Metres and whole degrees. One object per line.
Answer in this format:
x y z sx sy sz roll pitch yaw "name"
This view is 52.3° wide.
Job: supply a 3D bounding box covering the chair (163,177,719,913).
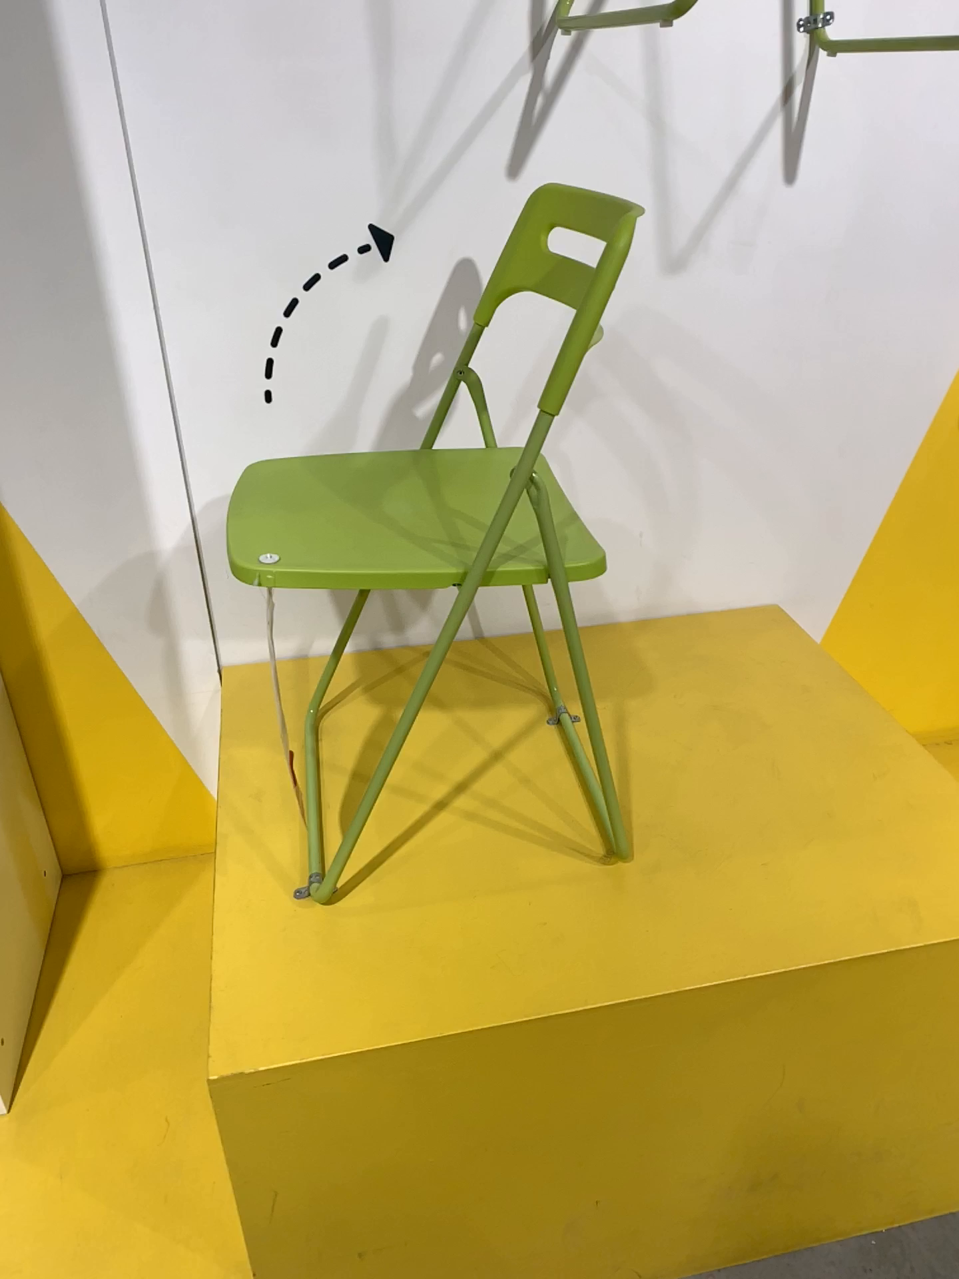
-0.056 -0.133 1.170 0.460 0.717 0.452 -6 30 -8 "chair"
